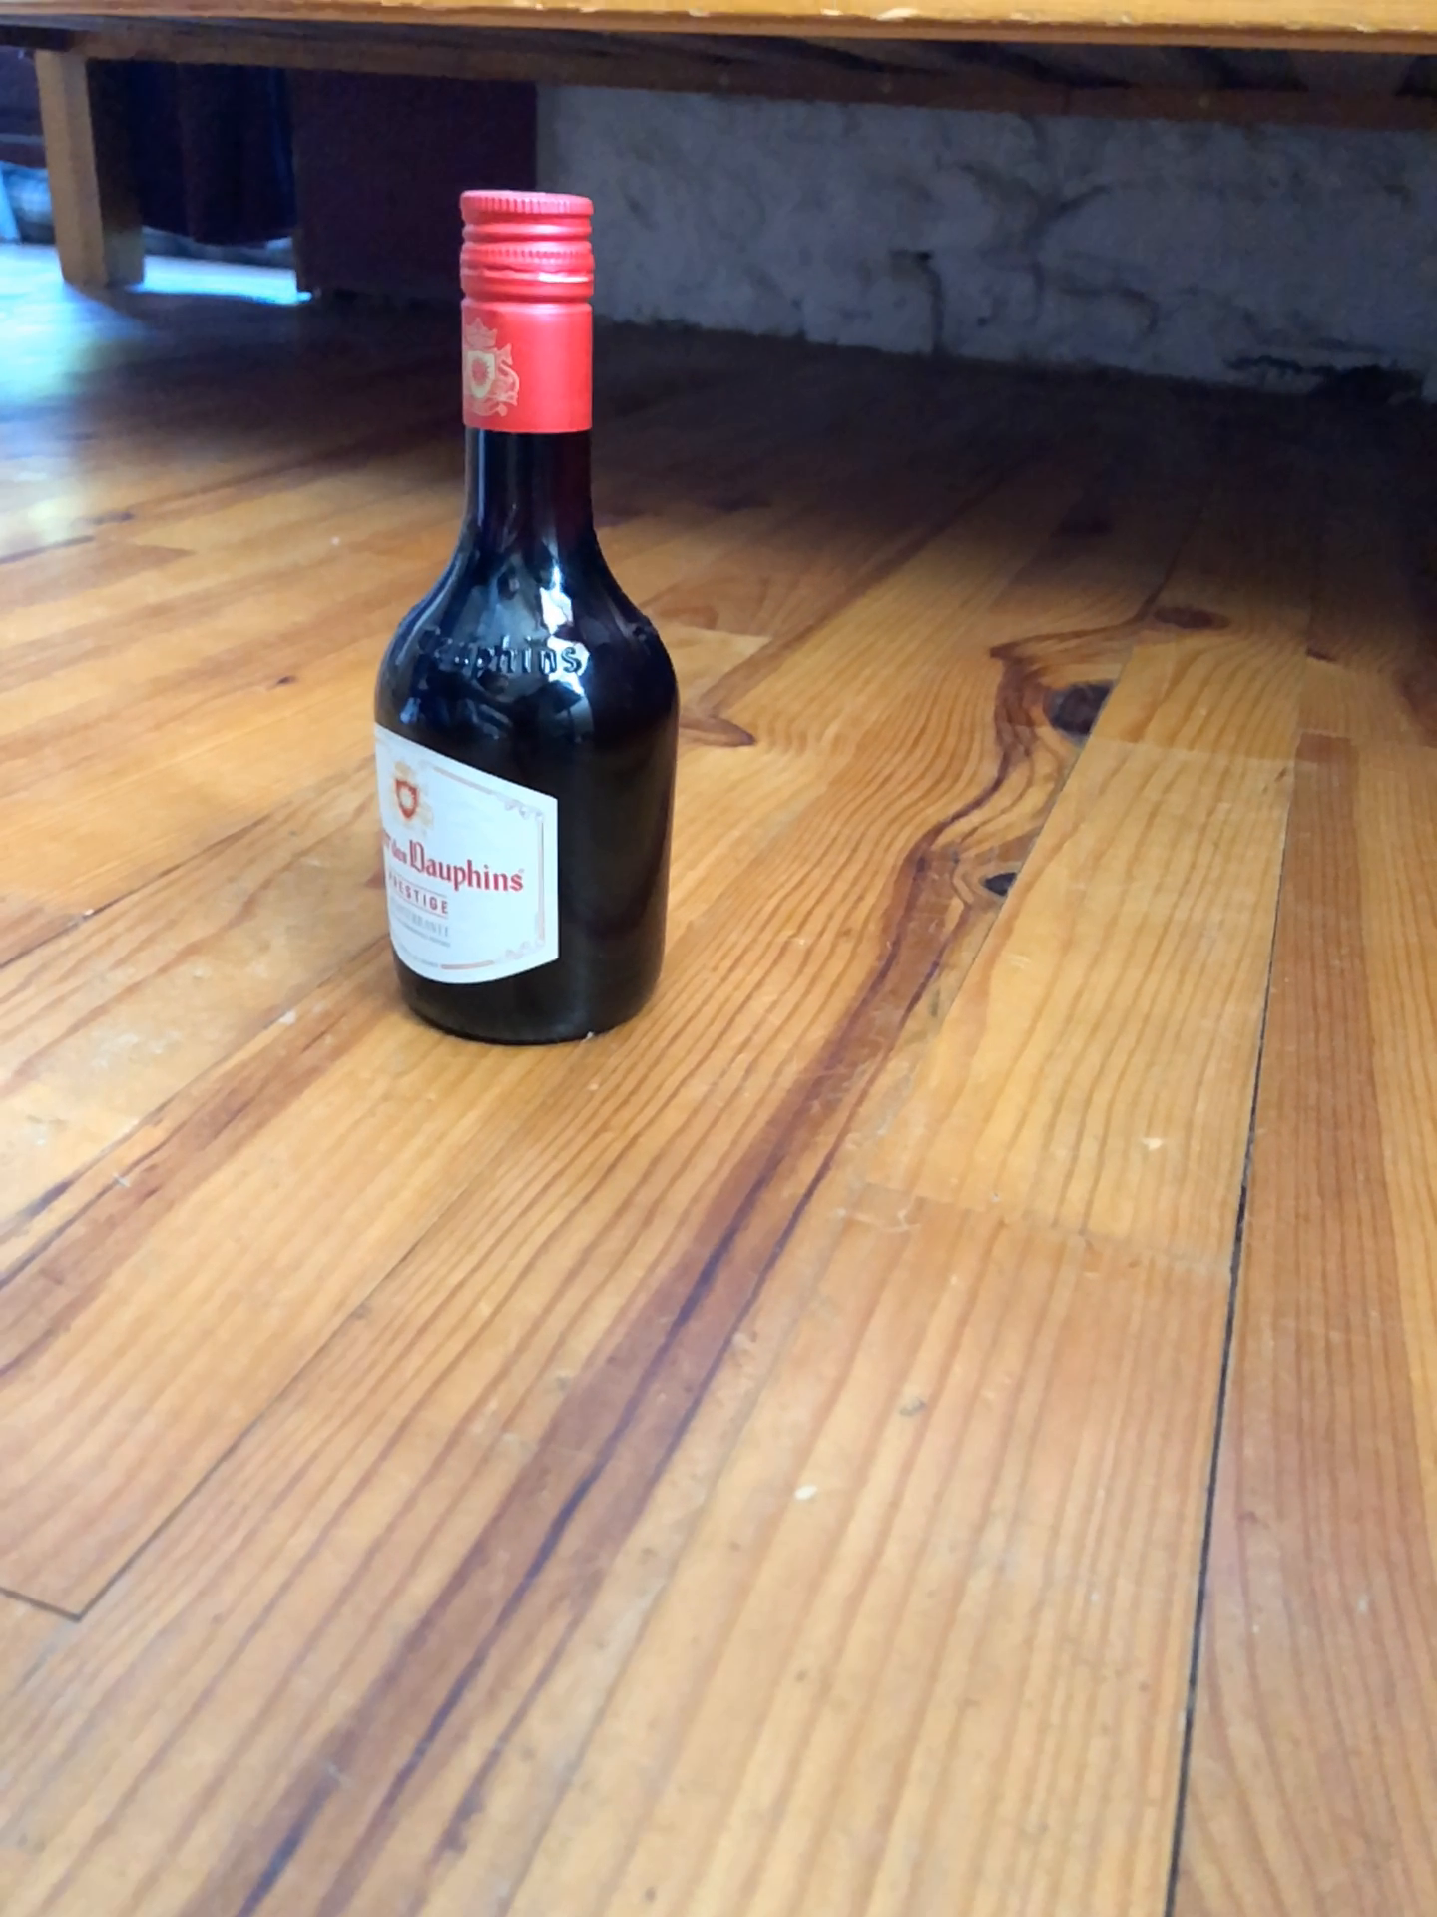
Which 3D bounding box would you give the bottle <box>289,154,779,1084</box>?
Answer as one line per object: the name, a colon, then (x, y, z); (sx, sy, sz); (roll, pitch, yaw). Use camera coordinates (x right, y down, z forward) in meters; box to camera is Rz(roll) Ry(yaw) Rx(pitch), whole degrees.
bottle: (-0.041, -0.071, 0.333); (0.070, 0.169, 0.060); (27, 34, 37)
